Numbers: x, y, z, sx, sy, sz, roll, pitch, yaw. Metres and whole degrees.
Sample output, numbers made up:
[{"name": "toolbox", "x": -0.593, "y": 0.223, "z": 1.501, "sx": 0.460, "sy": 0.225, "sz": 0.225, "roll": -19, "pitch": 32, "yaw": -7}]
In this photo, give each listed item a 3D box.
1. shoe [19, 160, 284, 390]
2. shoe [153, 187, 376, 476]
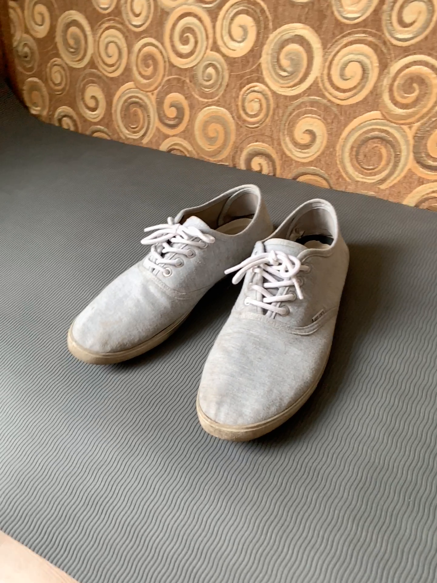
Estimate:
[{"name": "shoe", "x": -0.056, "y": -0.032, "z": 0.481, "sx": 0.260, "sy": 0.080, "sz": 0.110, "roll": -39, "pitch": 53, "yaw": -26}, {"name": "shoe", "x": 0.059, "y": 0.015, "z": 0.422, "sx": 0.110, "sy": 0.080, "sz": 0.261, "roll": 15, "pitch": 50, "yaw": 21}]
